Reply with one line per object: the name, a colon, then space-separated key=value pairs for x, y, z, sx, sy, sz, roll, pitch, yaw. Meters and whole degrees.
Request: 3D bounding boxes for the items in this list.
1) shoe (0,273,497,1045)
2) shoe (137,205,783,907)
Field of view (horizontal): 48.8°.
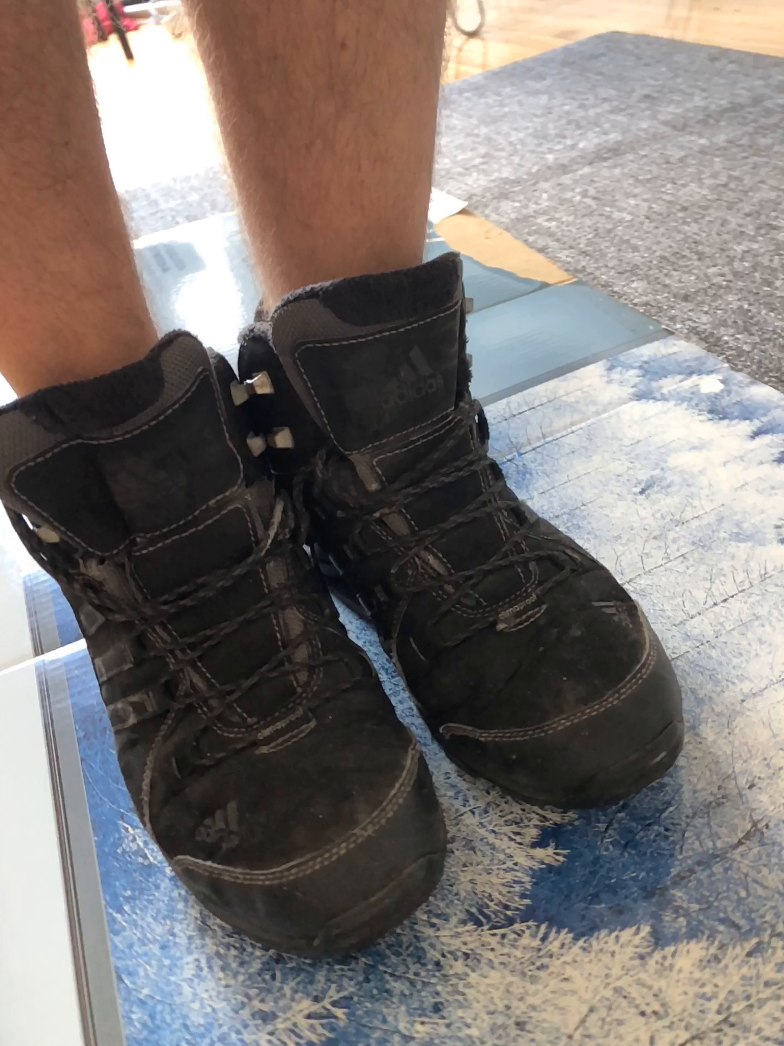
shoe: x=-0.096 y=0.032 z=0.354 sx=0.110 sy=0.169 sz=0.282 roll=-29 pitch=41 yaw=-20
shoe: x=0.014 y=-0.012 z=0.385 sx=0.110 sy=0.169 sz=0.282 roll=-29 pitch=41 yaw=-20
